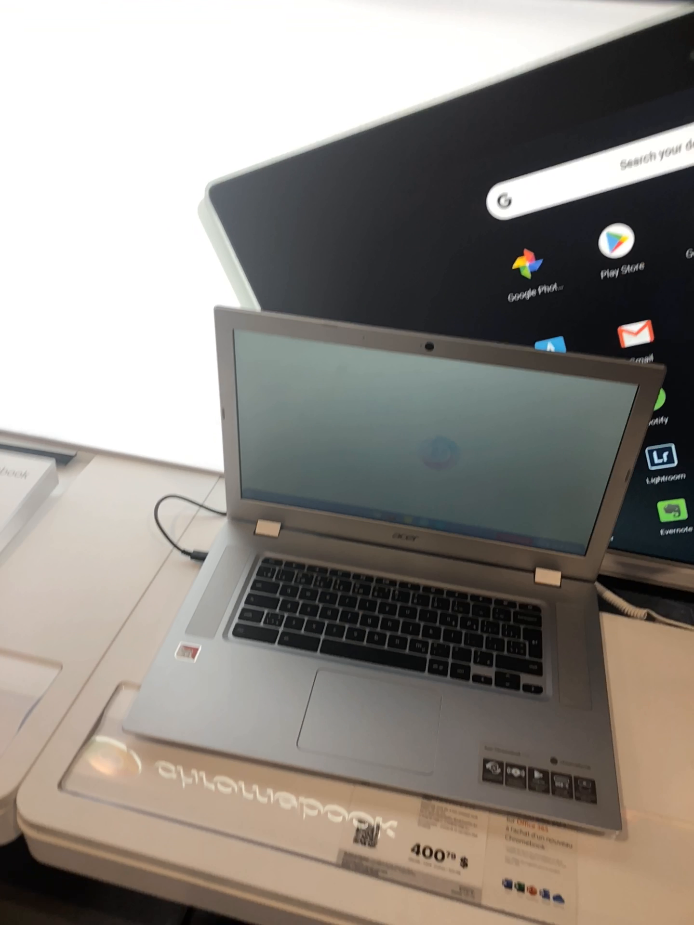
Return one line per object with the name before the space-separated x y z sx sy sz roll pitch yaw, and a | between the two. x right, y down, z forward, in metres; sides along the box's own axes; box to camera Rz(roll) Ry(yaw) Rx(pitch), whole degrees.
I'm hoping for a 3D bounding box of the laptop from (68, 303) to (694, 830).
laptop | 0.039 0.063 0.606 0.377 0.250 0.265 9 36 7
